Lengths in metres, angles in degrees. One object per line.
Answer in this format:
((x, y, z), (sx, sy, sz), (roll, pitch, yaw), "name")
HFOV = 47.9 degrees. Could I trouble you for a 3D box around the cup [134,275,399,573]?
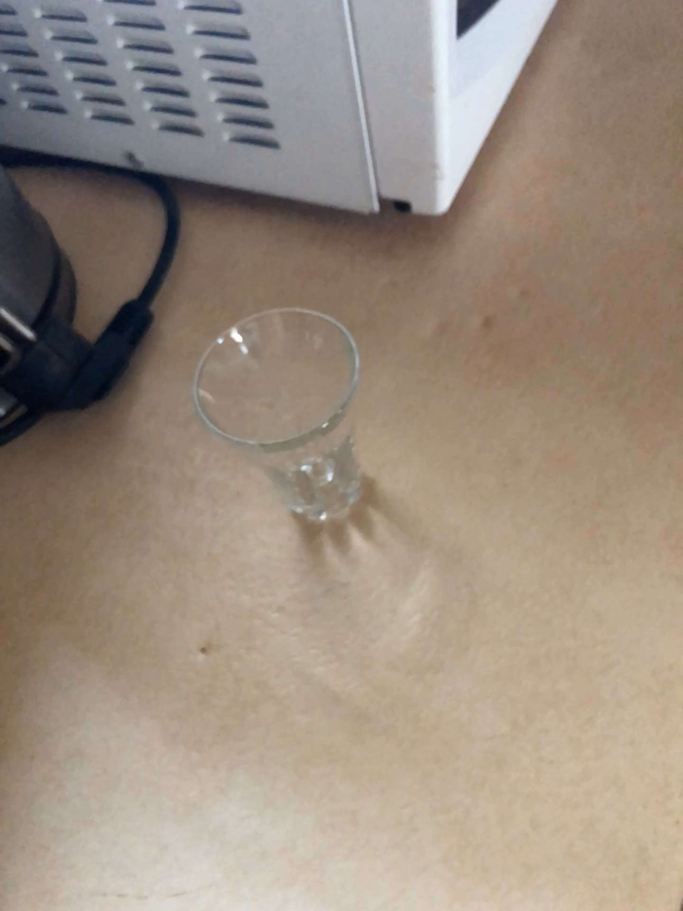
((-0.020, -0.008, 0.250), (0.050, 0.070, 0.050), (-5, 57, 8), "cup")
